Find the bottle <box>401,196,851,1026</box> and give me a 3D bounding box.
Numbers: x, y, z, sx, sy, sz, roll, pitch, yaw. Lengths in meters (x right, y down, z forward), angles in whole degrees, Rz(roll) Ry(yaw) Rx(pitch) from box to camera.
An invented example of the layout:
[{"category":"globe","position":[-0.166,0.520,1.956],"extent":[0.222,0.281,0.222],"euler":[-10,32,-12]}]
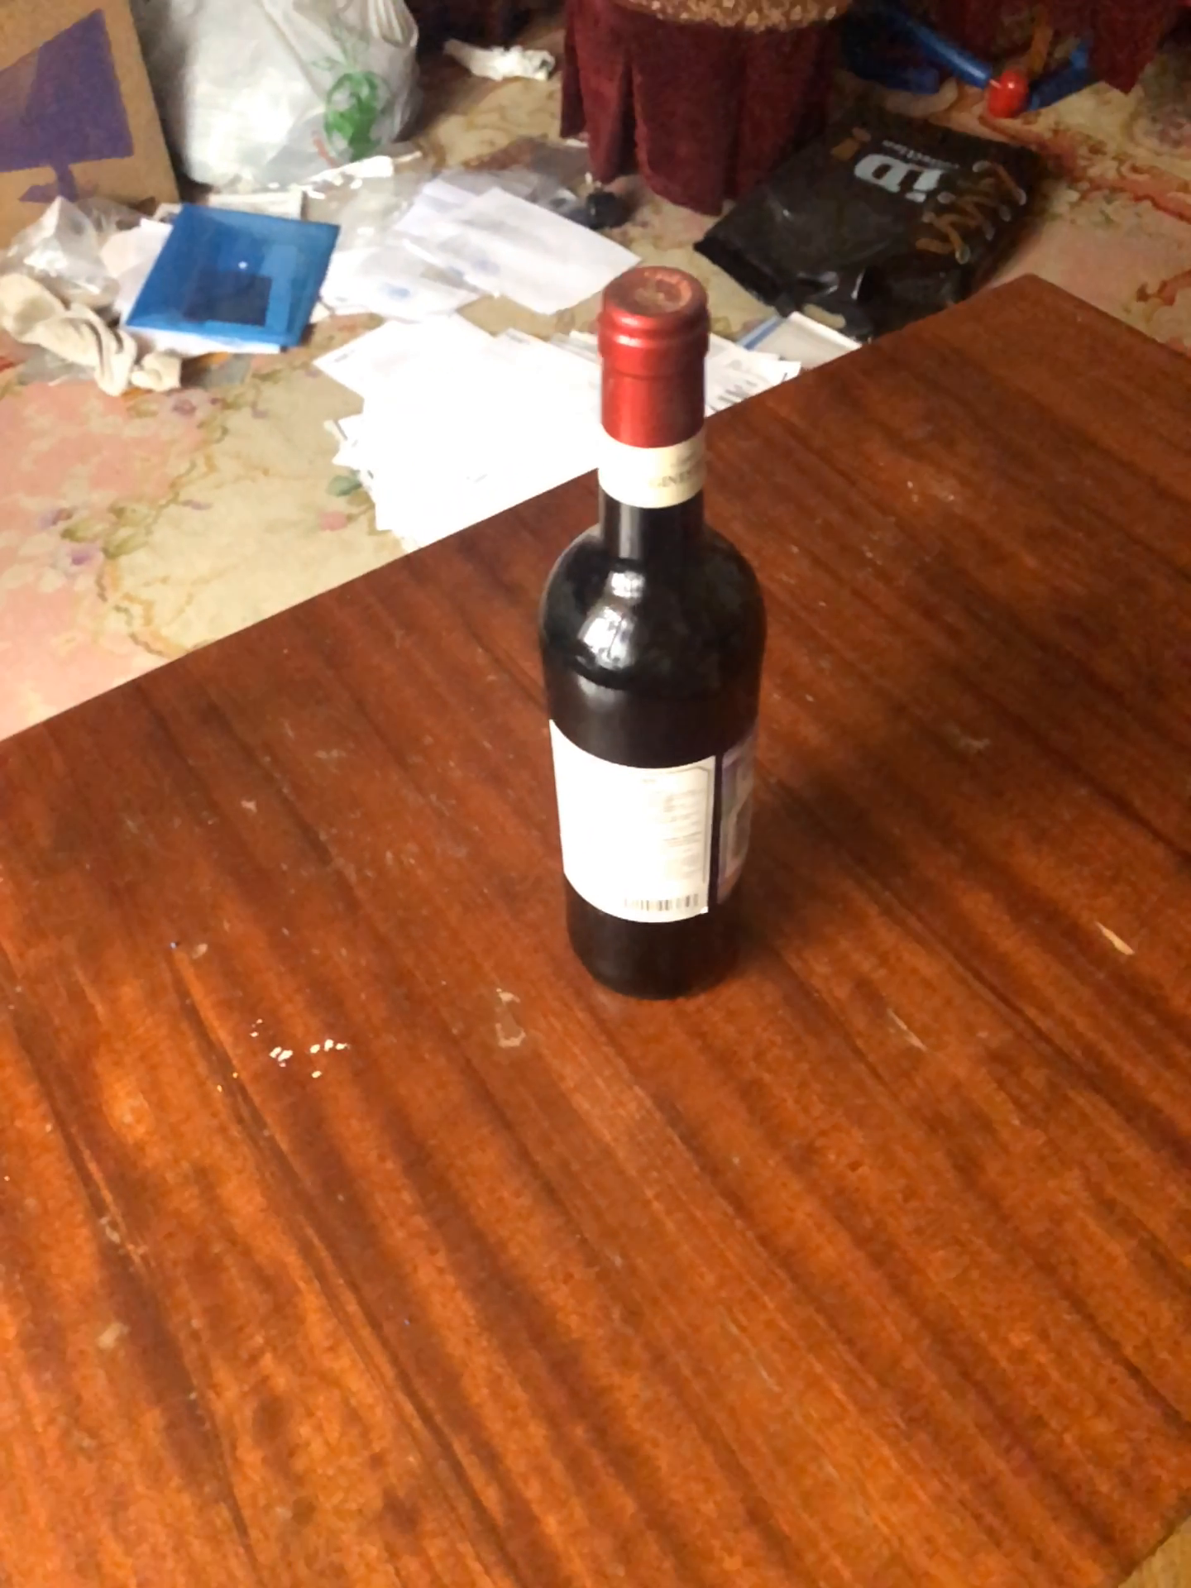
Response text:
[{"category":"bottle","position":[0.014,-0.038,0.431],"extent":[0.090,0.269,0.090],"euler":[-1,52,1]}]
